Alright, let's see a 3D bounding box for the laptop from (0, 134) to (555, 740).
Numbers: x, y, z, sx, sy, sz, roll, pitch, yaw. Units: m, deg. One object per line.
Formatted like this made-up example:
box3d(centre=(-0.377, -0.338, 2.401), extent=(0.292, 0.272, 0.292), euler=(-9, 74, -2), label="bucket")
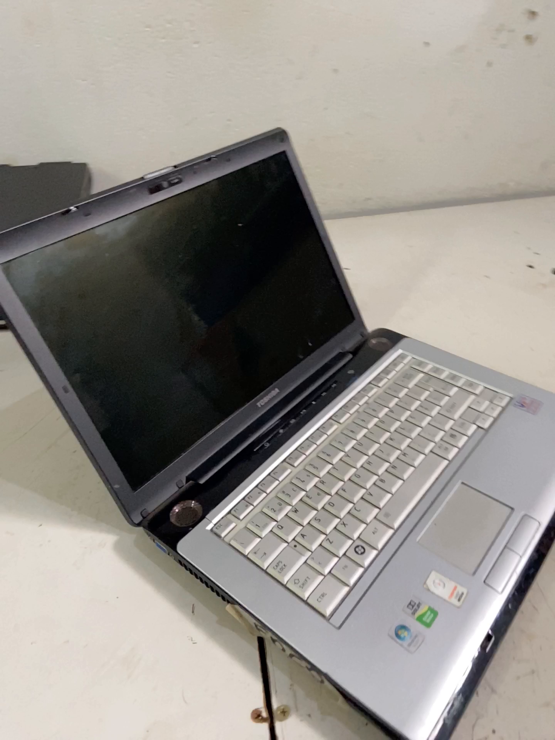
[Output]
box3d(centre=(0.041, -0.017, 0.470), extent=(0.394, 0.200, 0.352), euler=(26, 46, 31), label="laptop")
